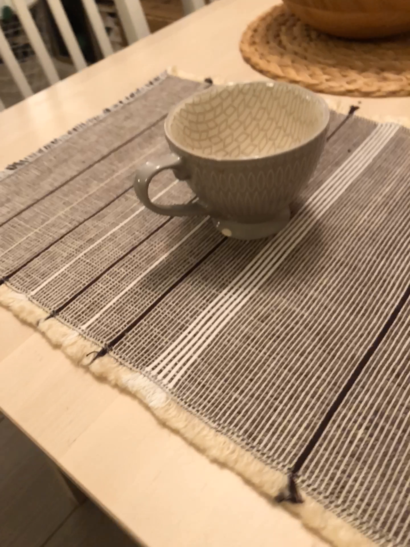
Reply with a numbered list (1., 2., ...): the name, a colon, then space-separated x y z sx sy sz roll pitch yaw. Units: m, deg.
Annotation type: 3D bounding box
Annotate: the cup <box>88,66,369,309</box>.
1. cup: 0.018 -0.071 0.330 0.150 0.080 0.110 -33 50 -23
